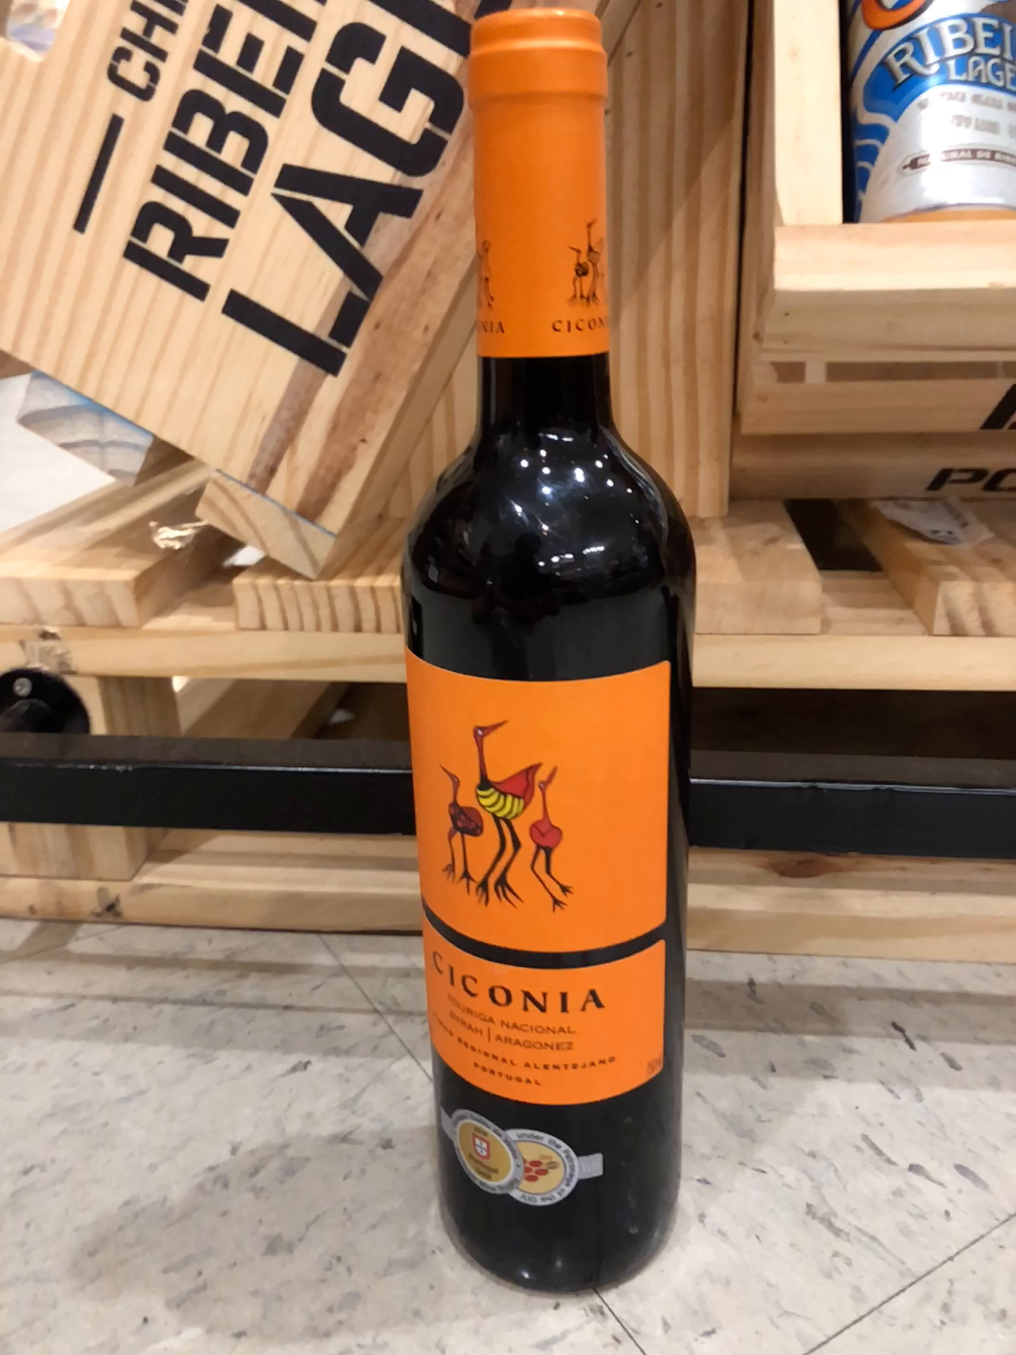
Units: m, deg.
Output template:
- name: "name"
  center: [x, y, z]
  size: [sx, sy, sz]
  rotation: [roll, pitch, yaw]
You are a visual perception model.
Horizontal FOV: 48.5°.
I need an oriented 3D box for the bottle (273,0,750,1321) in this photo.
- name: "bottle"
  center: [0.008, 0.006, 0.293]
  size: [0.080, 0.318, 0.070]
  rotation: [7, 22, 22]
